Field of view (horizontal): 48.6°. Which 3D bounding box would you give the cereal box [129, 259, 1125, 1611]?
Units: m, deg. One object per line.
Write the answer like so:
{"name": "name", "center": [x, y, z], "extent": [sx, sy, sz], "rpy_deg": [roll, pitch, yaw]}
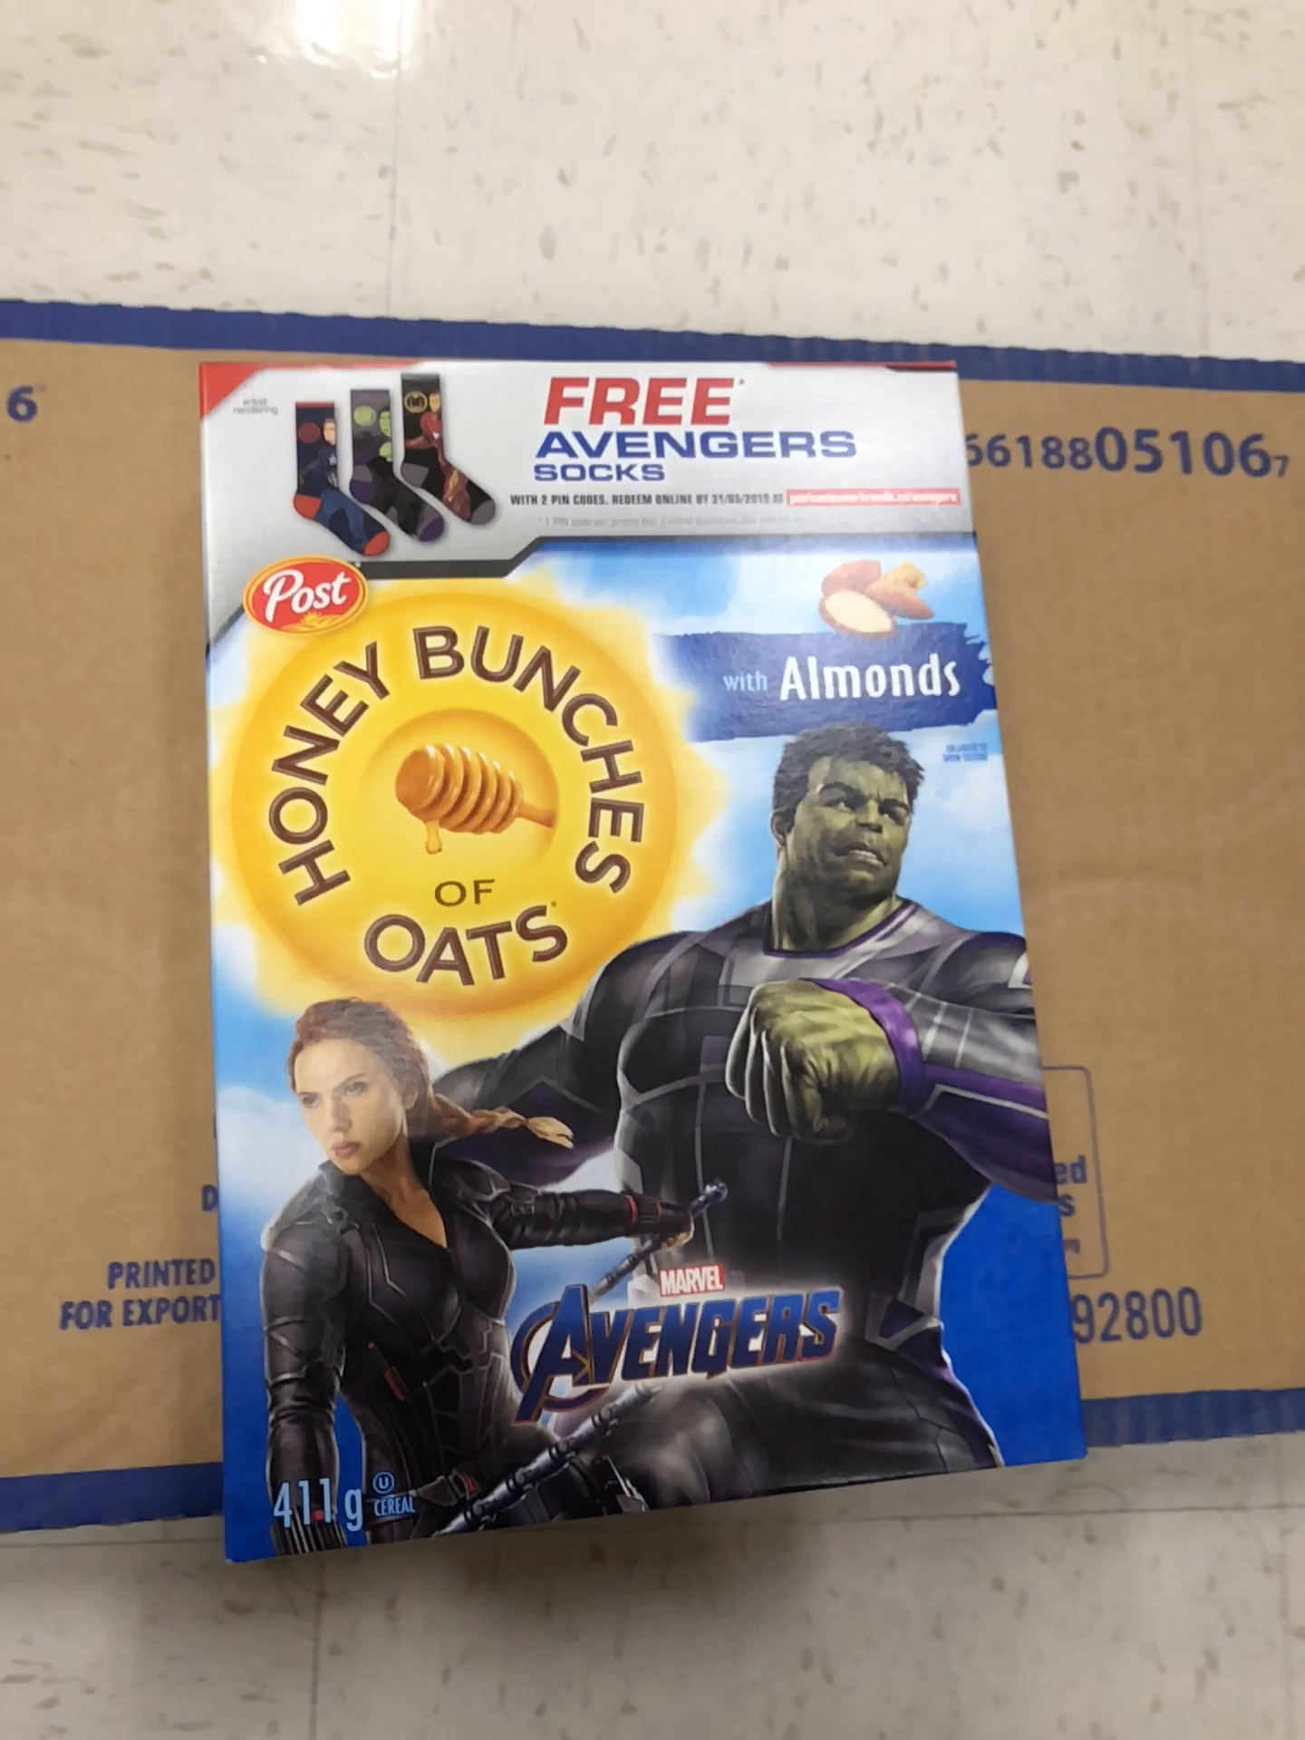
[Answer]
{"name": "cereal box", "center": [-0.013, 0.002, 0.357], "extent": [0.200, 0.070, 0.290], "rpy_deg": [-4, 80, -9]}
